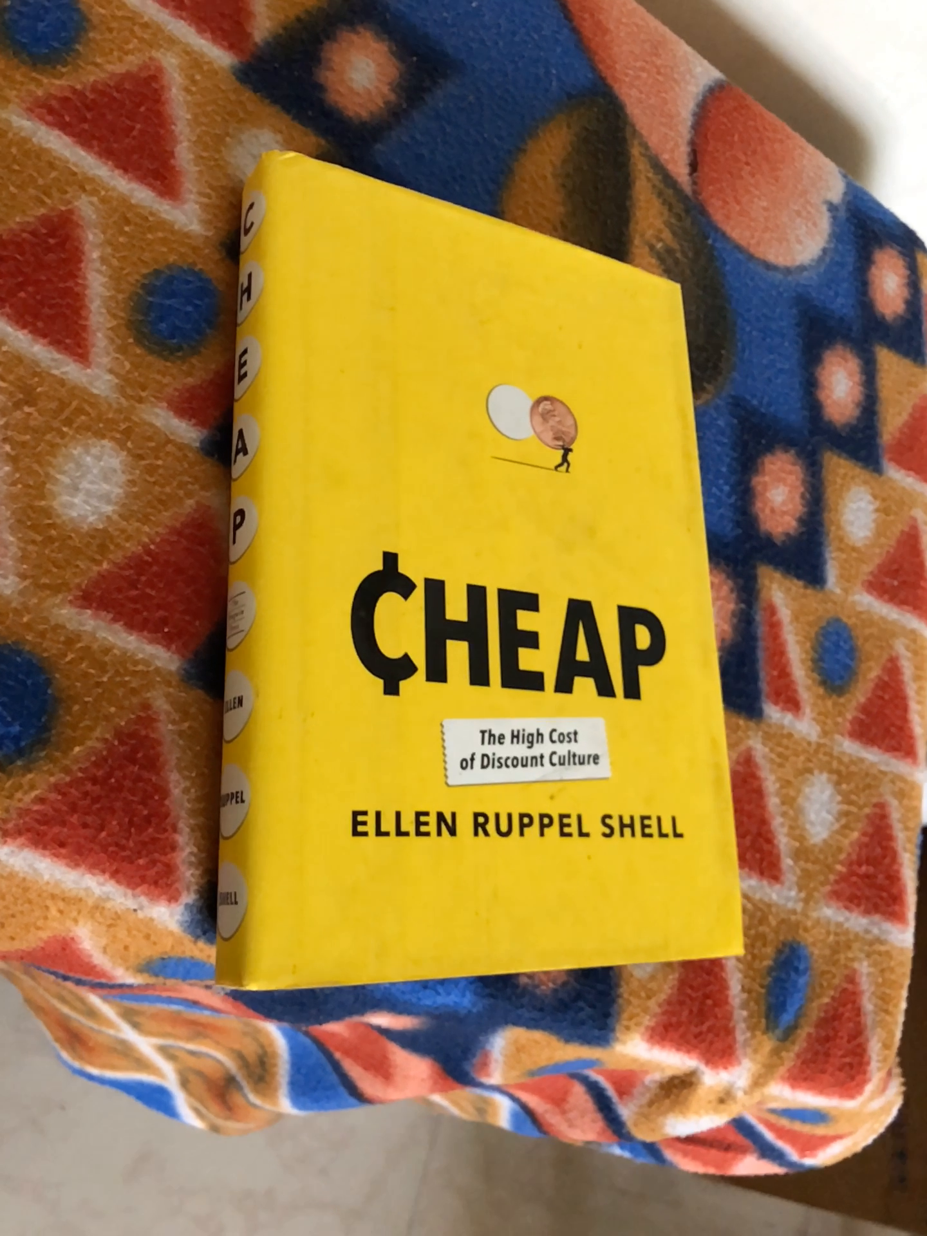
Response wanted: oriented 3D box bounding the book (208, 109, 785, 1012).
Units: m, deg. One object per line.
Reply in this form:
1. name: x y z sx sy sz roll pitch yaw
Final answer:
1. book: 0.013 -0.016 0.317 0.171 0.030 0.240 7 72 -31
